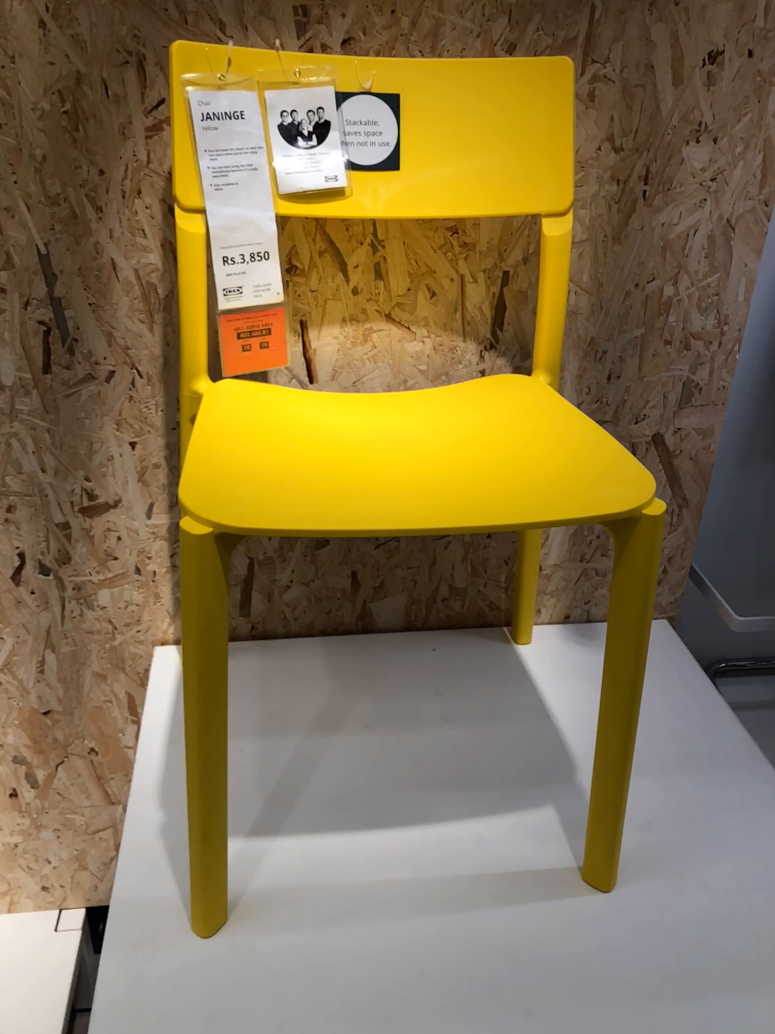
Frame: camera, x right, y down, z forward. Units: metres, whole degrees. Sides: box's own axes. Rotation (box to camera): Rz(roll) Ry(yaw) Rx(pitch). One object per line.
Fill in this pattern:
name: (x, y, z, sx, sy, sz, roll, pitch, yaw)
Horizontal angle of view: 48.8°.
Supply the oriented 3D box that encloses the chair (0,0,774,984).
chair: (0.006, -0.050, 0.755, 0.460, 0.676, 0.463, -3, 28, -9)
